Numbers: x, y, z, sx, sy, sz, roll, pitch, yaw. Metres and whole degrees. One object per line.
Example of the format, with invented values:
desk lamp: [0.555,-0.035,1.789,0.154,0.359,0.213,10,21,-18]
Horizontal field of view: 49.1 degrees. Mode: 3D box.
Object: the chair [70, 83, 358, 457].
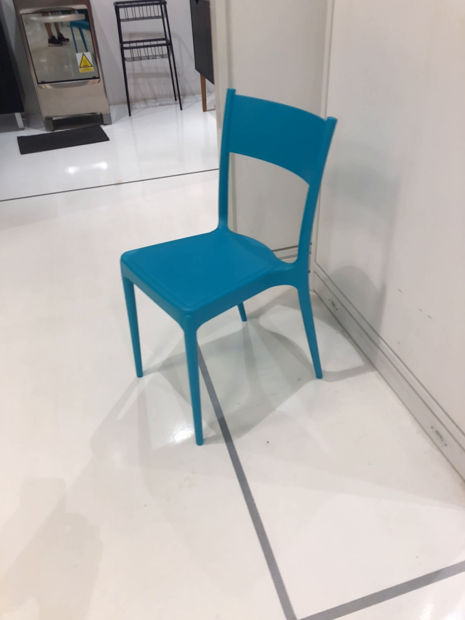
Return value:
chair: [-0.035,-0.122,1.396,0.511,0.793,0.432,-24,40,-27]
